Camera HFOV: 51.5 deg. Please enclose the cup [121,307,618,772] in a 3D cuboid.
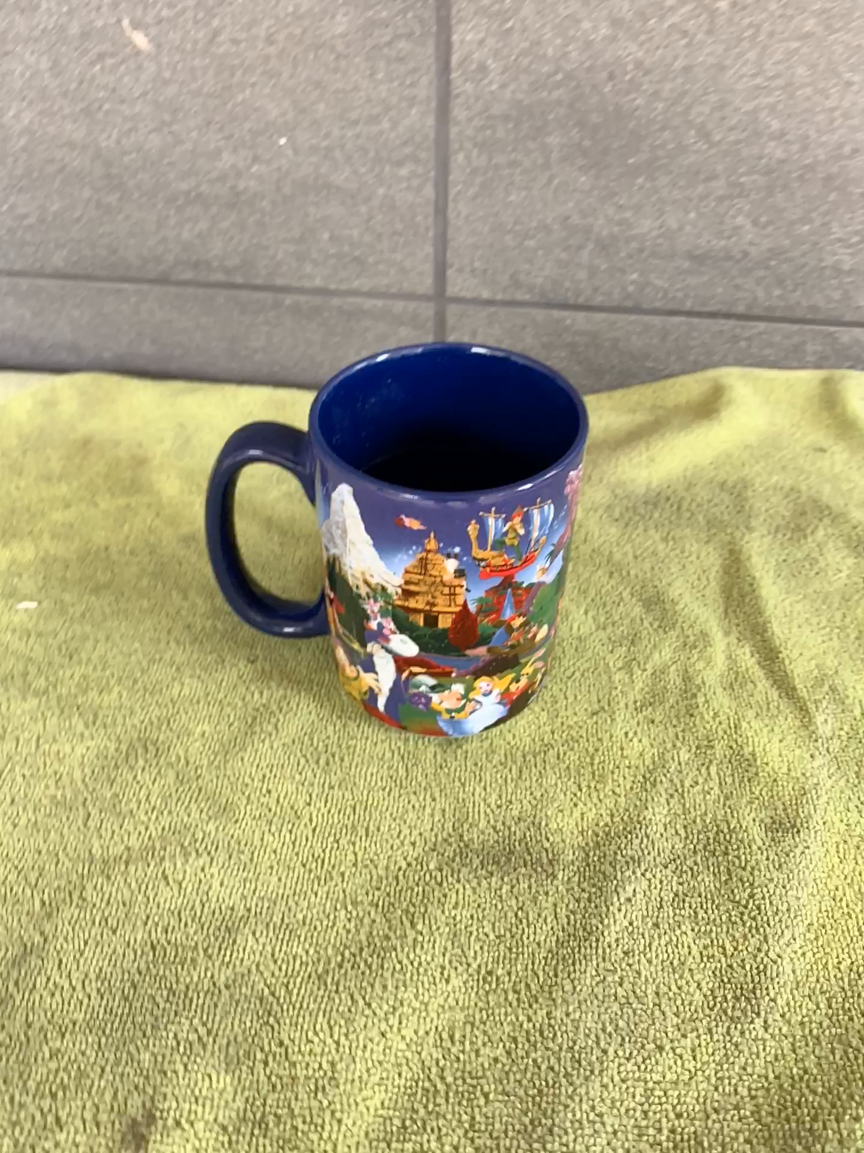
[{"bbox_3d":[-0.012,-0.014,0.302,0.130,0.110,0.090,7,43,7],"label":"cup"}]
